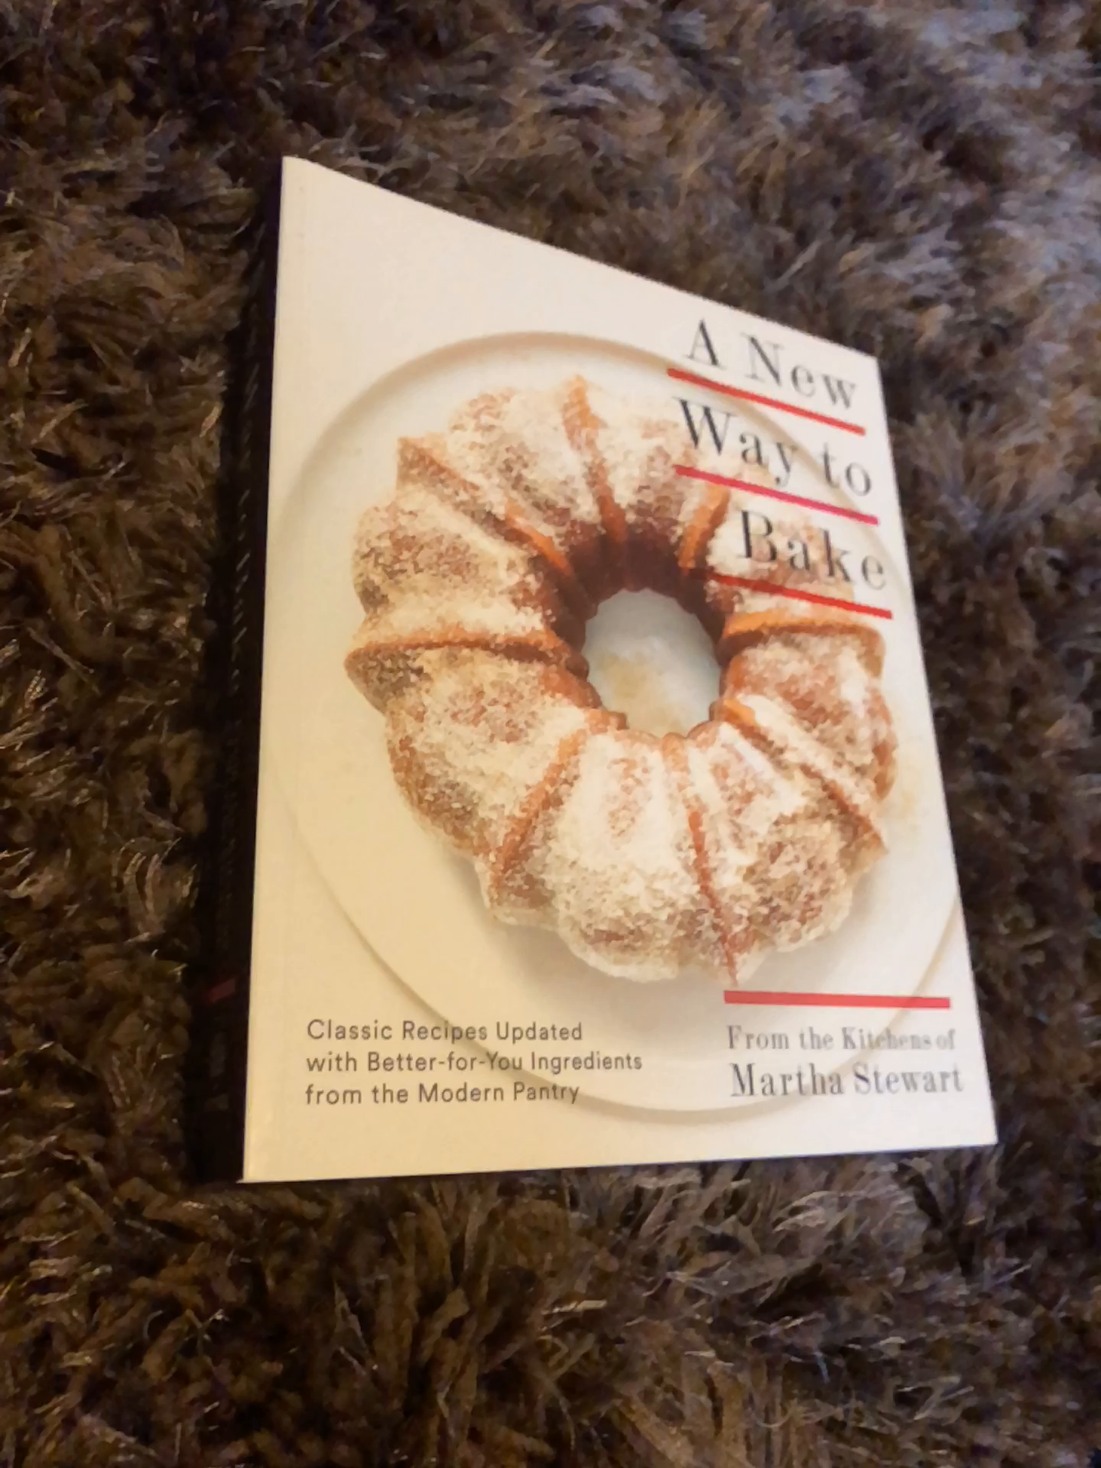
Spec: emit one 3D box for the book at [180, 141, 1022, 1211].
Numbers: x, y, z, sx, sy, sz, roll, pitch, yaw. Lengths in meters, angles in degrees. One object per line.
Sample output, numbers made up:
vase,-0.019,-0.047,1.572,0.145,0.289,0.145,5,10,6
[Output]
book,0.014,-0.011,0.308,0.192,0.040,0.229,7,68,-29
